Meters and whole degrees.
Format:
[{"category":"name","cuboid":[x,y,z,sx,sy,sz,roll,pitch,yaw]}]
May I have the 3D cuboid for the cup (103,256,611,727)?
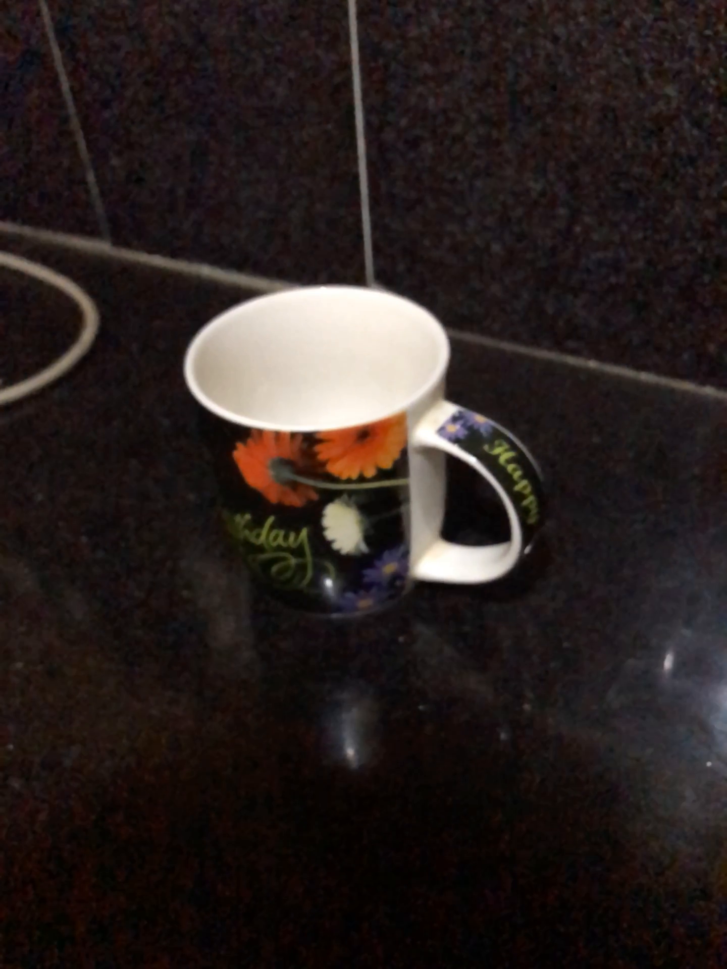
[{"category":"cup","cuboid":[0.000,-0.006,0.284,0.130,0.089,0.091,22,48,28]}]
